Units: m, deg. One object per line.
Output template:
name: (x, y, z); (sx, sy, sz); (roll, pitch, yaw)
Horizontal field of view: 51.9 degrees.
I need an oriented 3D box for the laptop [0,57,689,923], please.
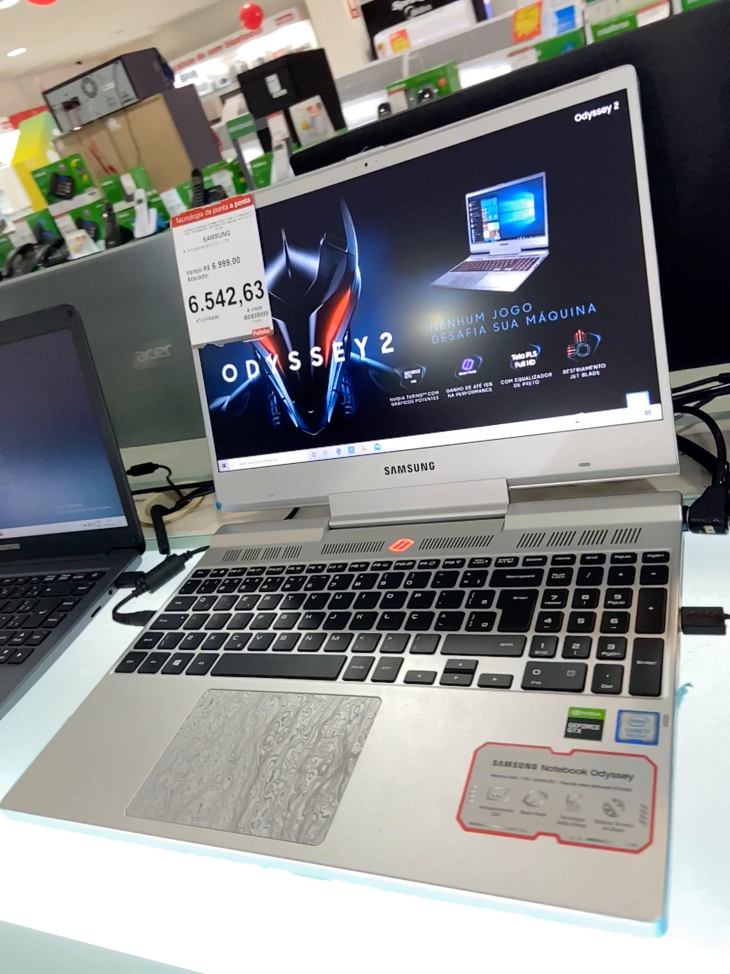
laptop: (-0.027, -0.034, 0.427); (0.353, 0.225, 0.369); (-6, 31, 28)
